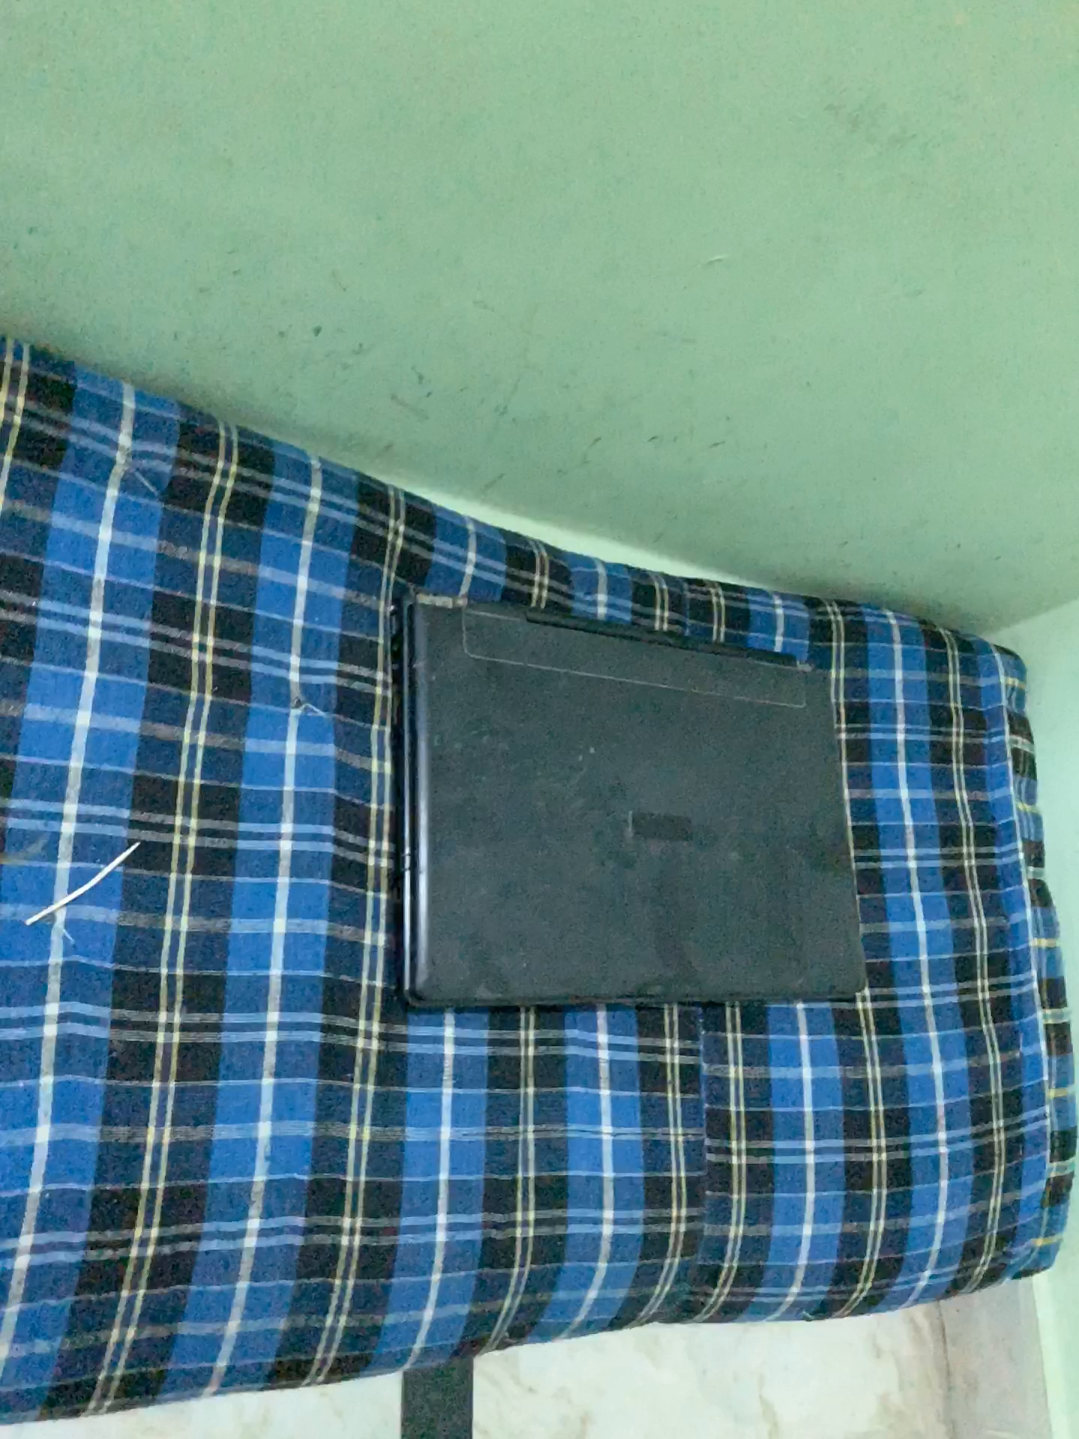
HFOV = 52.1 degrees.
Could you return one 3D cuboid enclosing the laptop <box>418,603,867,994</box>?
[{"bbox_3d":[0.075,0.054,0.684,0.324,0.005,0.216,6,72,-31],"label":"laptop"}]
